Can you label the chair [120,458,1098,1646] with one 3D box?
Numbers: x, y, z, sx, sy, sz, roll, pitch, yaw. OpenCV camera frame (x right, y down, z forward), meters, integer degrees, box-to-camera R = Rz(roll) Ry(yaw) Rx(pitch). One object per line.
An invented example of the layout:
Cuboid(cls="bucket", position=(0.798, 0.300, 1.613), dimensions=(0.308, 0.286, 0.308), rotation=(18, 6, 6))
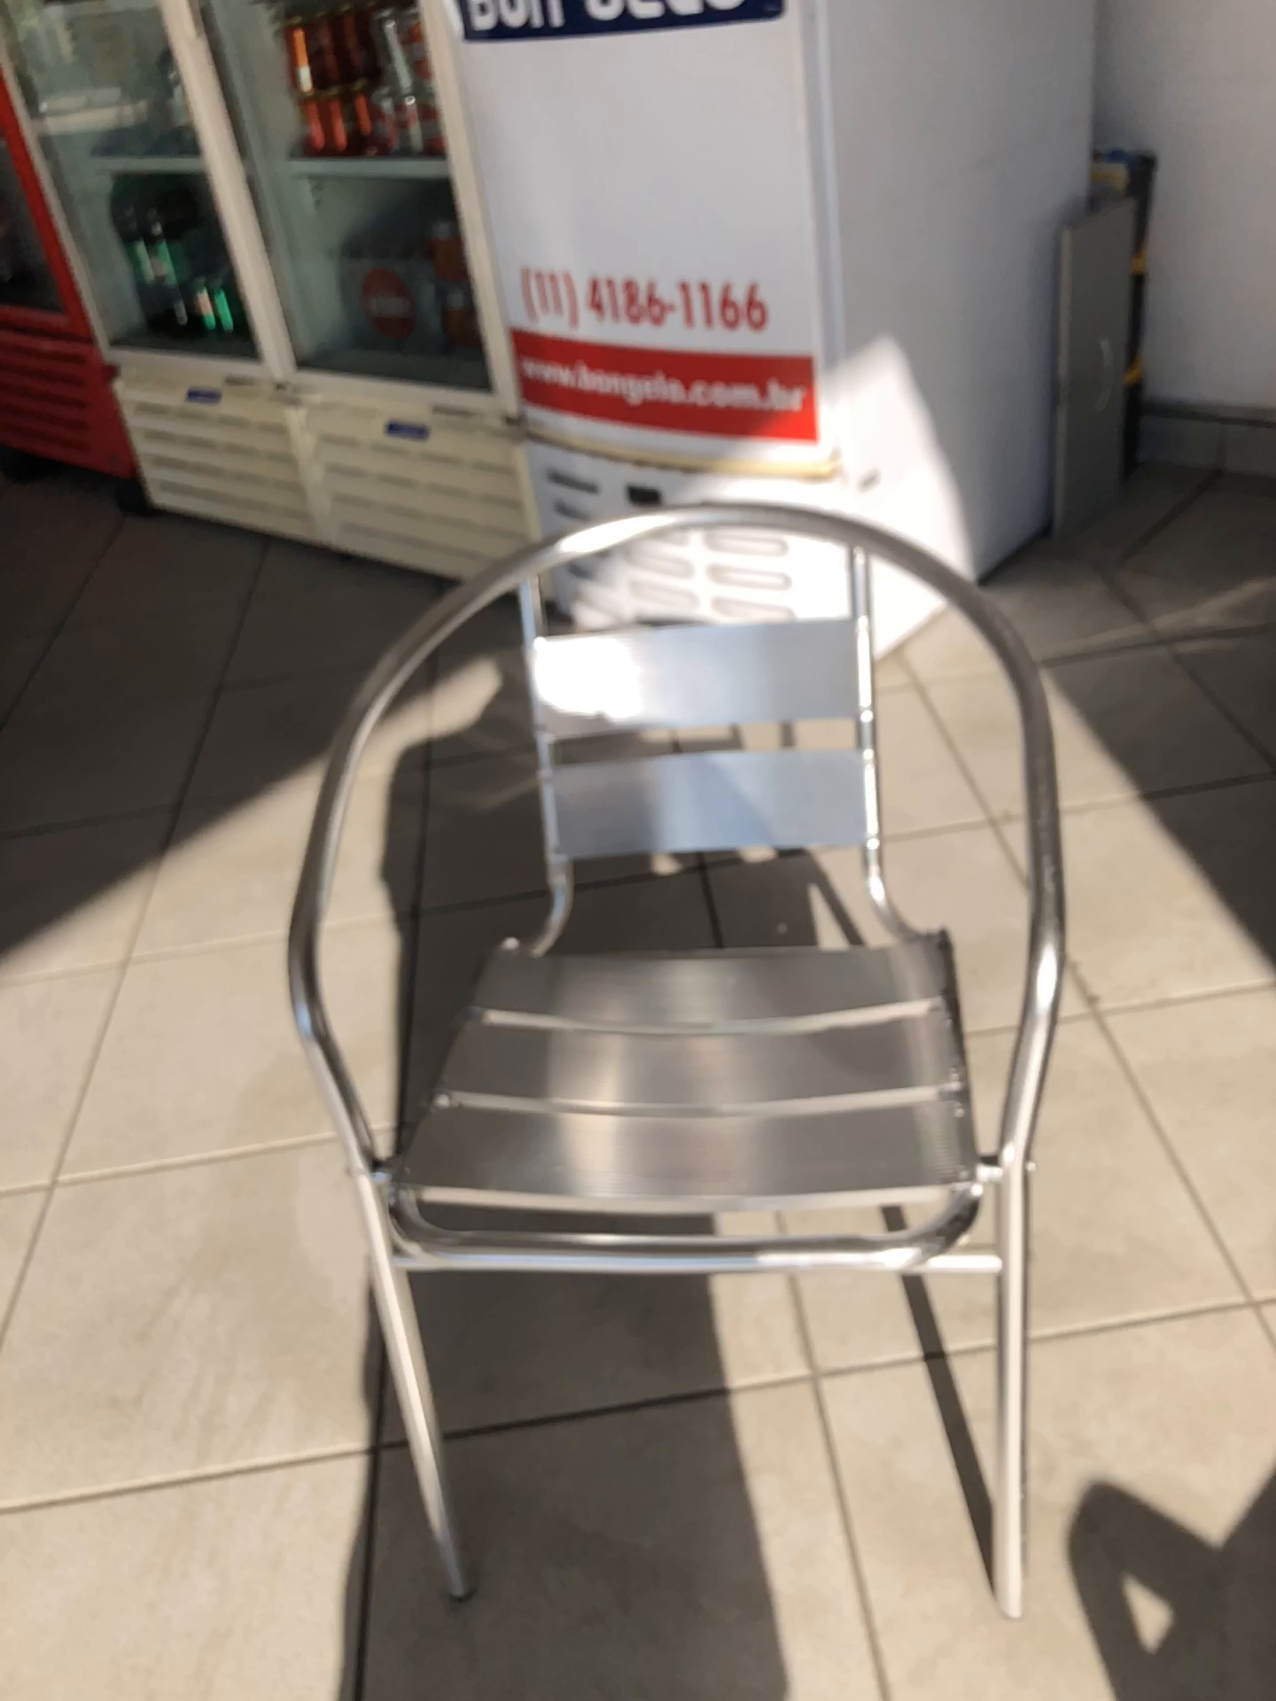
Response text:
Cuboid(cls="chair", position=(0.053, 0.148, 1.194), dimensions=(0.520, 0.705, 0.634), rotation=(-3, 34, 10))
